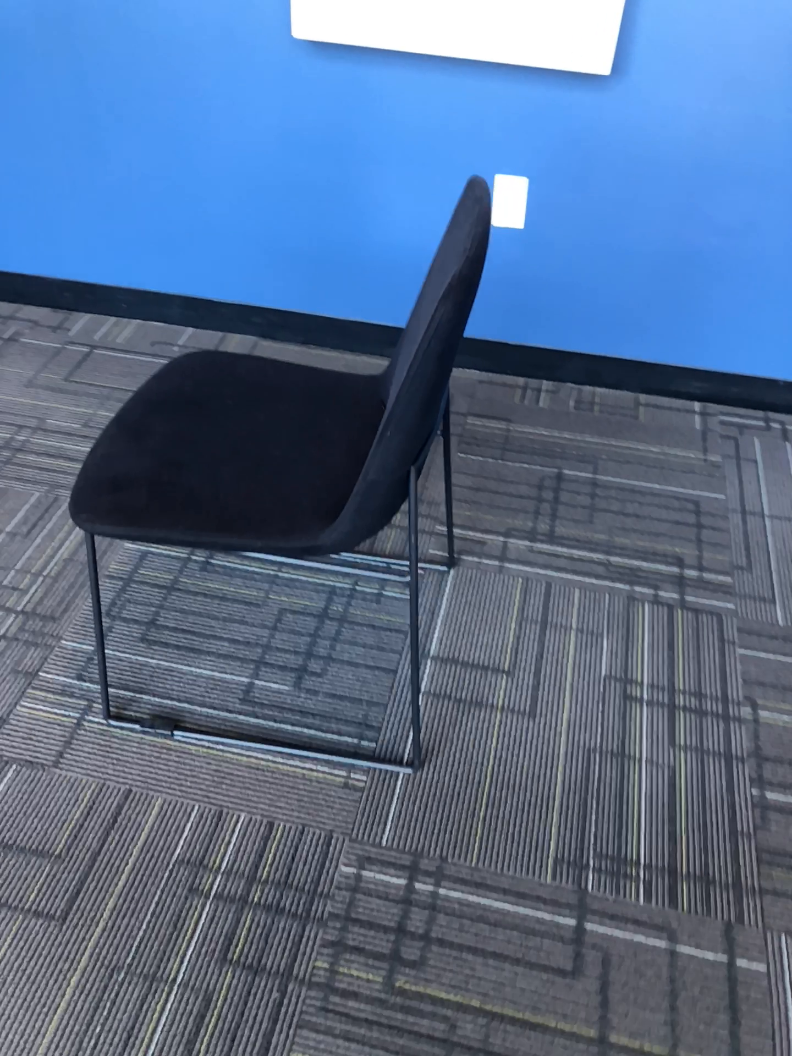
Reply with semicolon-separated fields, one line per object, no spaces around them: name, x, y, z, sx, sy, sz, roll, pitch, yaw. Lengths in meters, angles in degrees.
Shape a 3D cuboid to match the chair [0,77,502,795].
chair;-0.184;-0.116;1.231;0.550;0.766;0.563;7;43;5
